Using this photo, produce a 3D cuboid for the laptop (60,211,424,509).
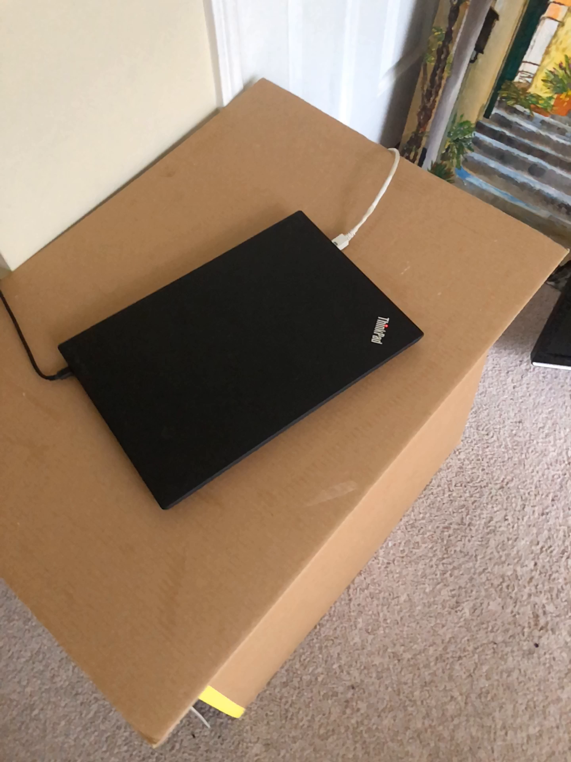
[{"bbox_3d":[-0.047,-0.045,0.678,0.327,0.002,0.225,-32,64,-17],"label":"laptop"}]
